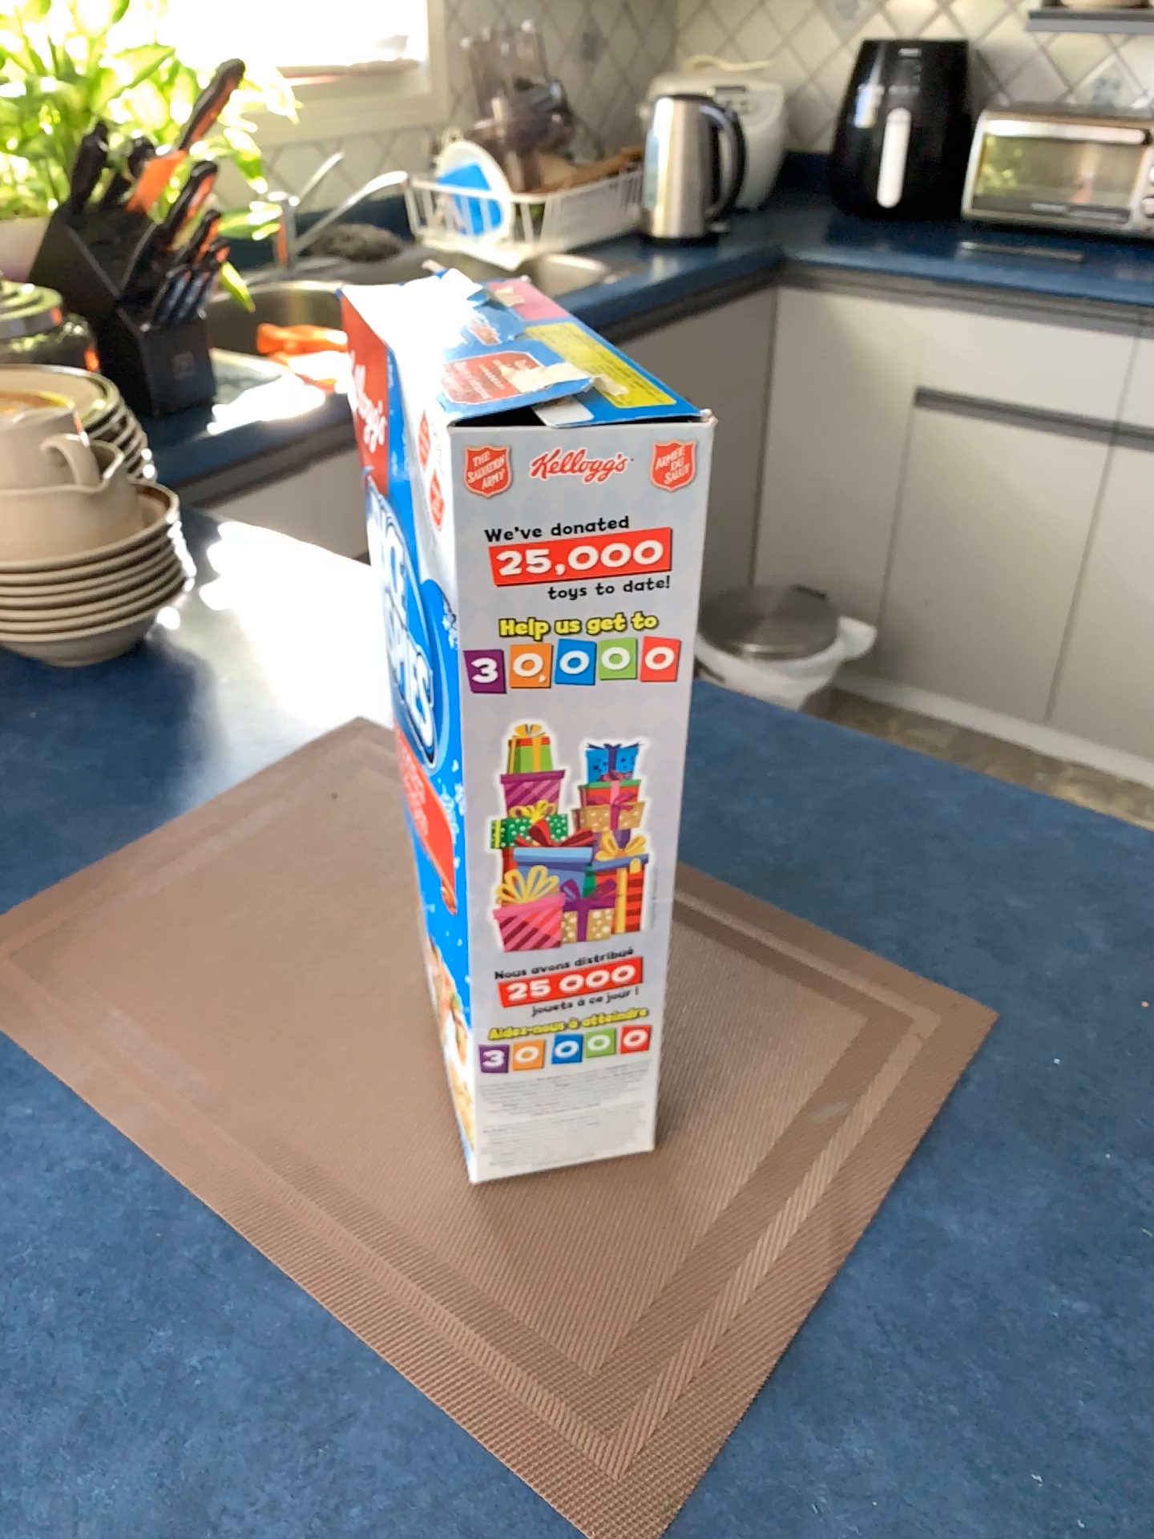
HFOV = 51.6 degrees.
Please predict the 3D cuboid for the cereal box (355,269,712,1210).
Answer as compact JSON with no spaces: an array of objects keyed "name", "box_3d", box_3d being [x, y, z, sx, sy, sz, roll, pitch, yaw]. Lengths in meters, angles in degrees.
[{"name":"cereal box","box_3d":[-0.031,-0.018,0.511,0.080,0.327,0.222,-7,33,-13]}]
